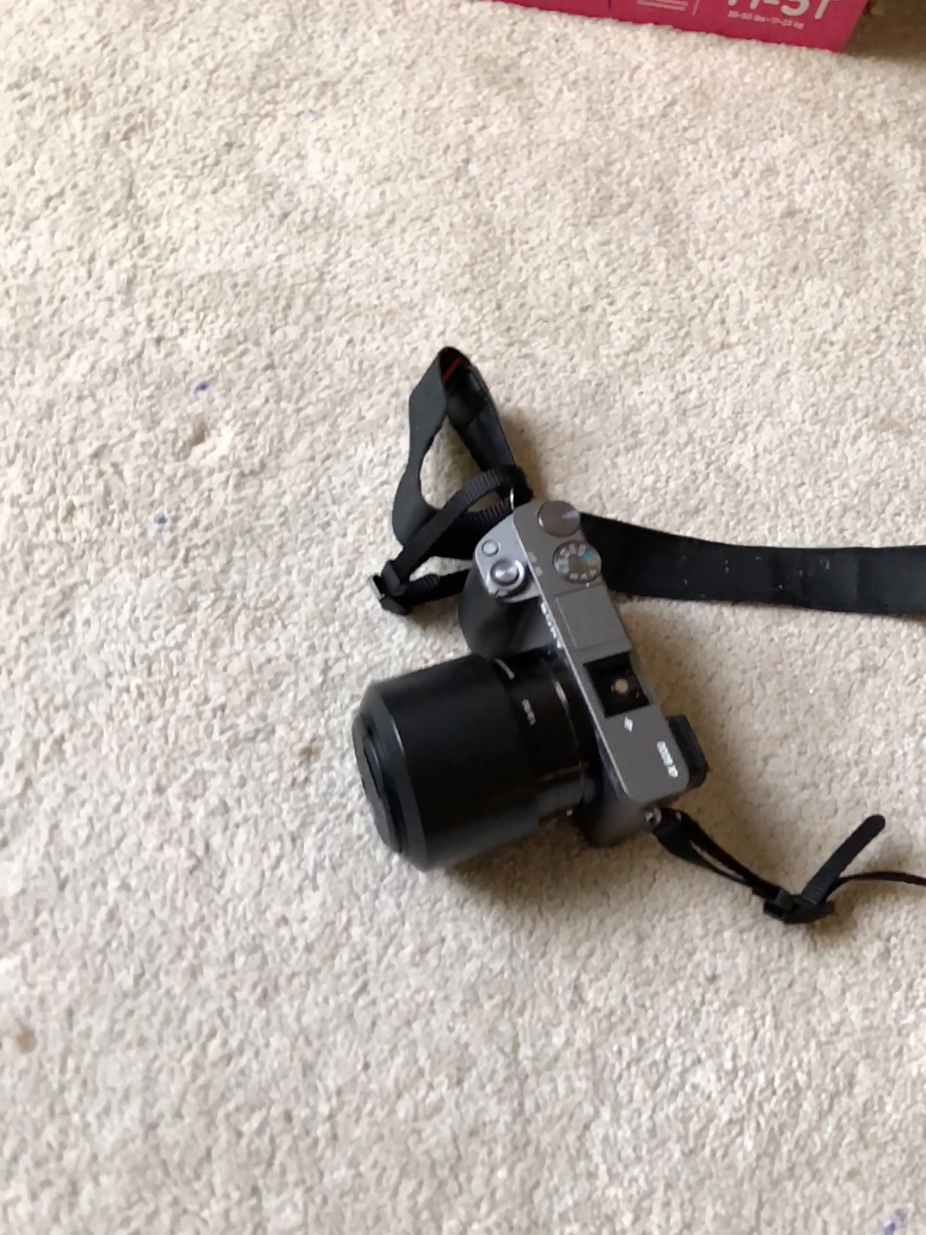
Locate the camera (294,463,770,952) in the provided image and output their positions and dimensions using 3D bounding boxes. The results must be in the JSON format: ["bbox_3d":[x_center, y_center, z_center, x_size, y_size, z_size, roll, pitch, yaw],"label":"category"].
[{"bbox_3d":[0.016,0.031,0.372,0.120,0.080,0.130,-15,66,-15],"label":"camera"}]
